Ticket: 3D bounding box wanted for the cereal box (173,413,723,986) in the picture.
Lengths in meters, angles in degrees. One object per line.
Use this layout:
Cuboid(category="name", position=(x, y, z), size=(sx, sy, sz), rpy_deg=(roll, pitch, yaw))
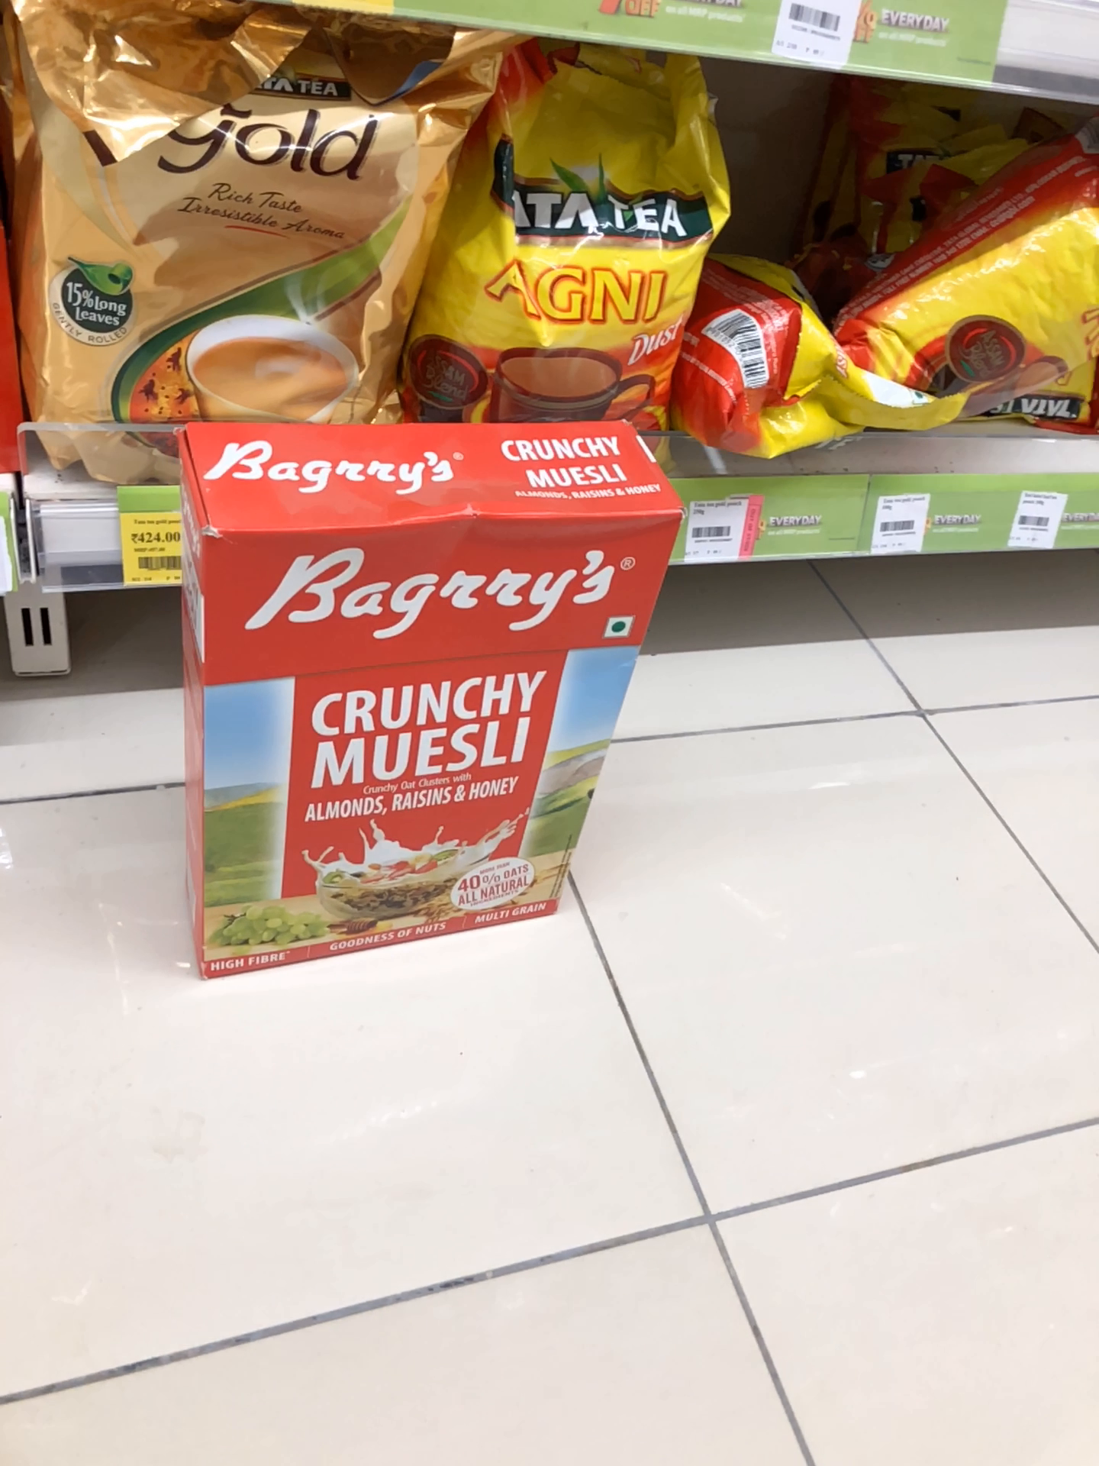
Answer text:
Cuboid(category="cereal box", position=(-0.061, -0.008, 0.553), size=(0.201, 0.268, 0.070), rpy_deg=(-7, 47, -22))
